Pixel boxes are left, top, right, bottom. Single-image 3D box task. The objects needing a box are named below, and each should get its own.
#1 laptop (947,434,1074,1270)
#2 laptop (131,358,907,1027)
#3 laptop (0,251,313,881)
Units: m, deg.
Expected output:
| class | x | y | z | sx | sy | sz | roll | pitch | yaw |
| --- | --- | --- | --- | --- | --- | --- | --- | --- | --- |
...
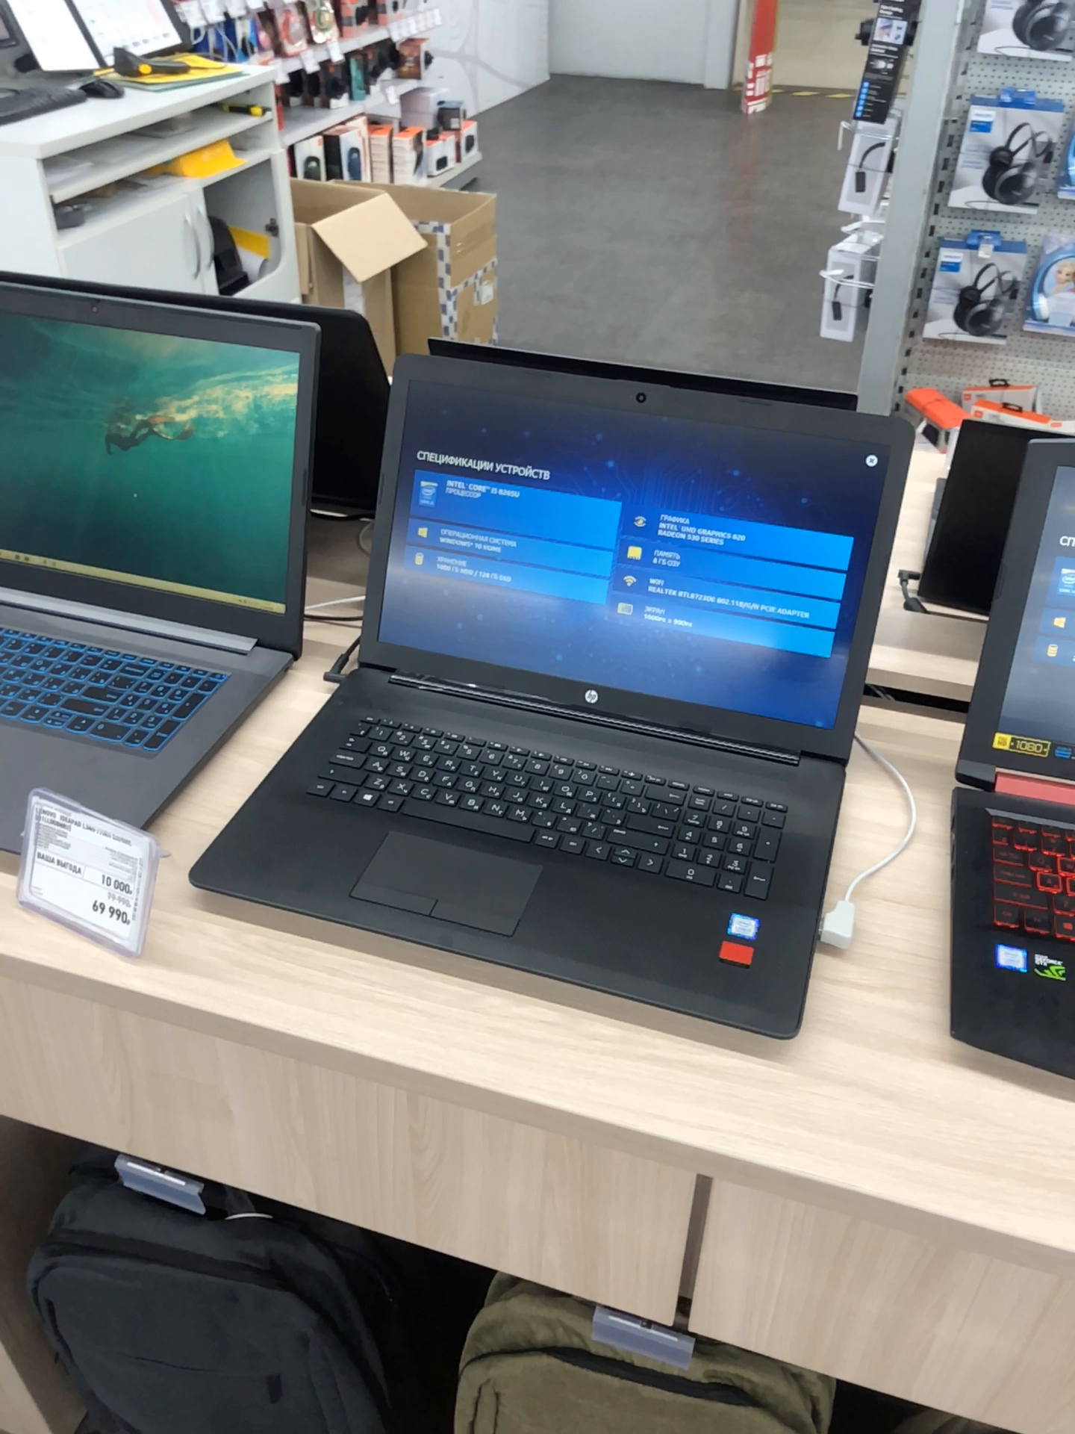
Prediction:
| class | x | y | z | sx | sy | sz | roll | pitch | yaw |
| --- | --- | --- | --- | --- | --- | --- | --- | --- | --- |
| laptop | 0.482 | 0.043 | 0.679 | 0.403 | 0.224 | 0.304 | 10 | 40 | 12 |
| laptop | 0.019 | -0.051 | 0.805 | 0.387 | 0.213 | 0.374 | 11 | 38 | 13 |
| laptop | -0.420 | -0.145 | 0.890 | 0.380 | 0.226 | 0.374 | 12 | 39 | 10 |
